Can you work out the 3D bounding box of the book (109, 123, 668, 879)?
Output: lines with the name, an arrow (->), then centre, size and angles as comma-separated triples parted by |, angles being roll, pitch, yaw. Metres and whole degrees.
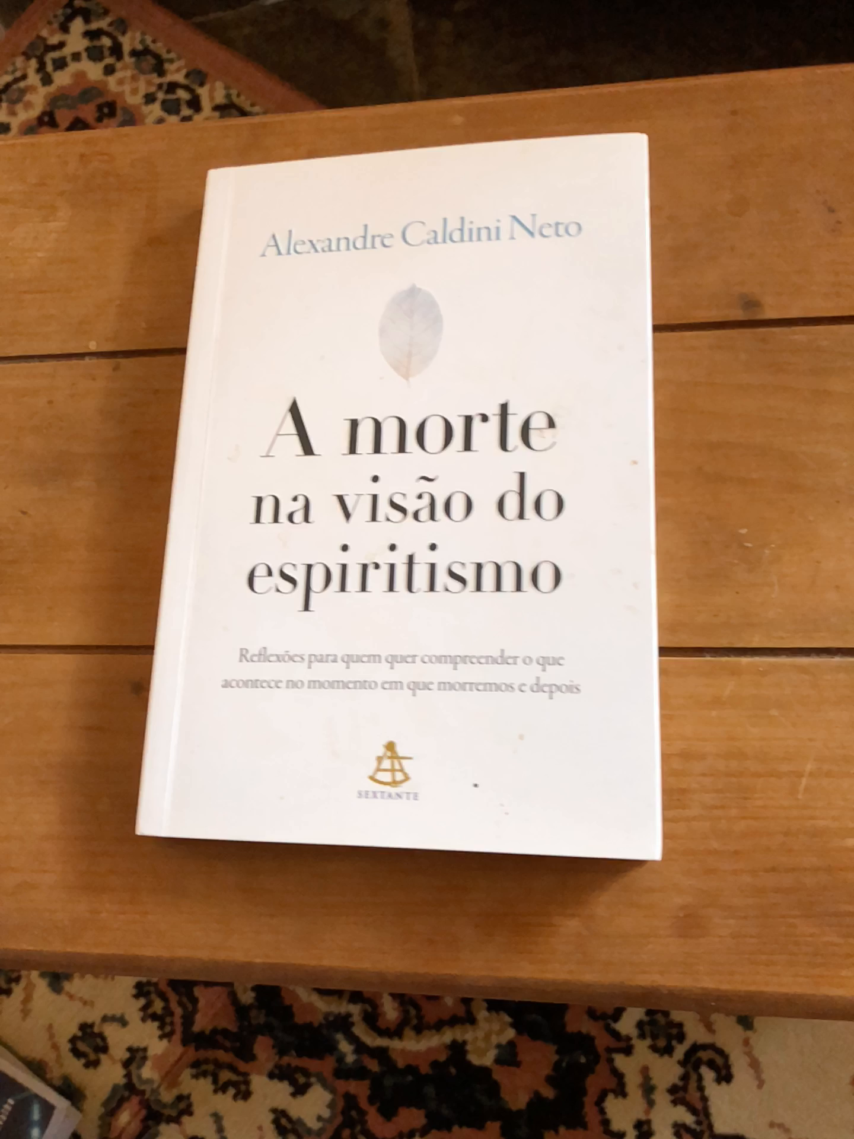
book -> -0.006, -0.024, 0.257 | 0.135, 0.020, 0.196 | 0, 76, 11
